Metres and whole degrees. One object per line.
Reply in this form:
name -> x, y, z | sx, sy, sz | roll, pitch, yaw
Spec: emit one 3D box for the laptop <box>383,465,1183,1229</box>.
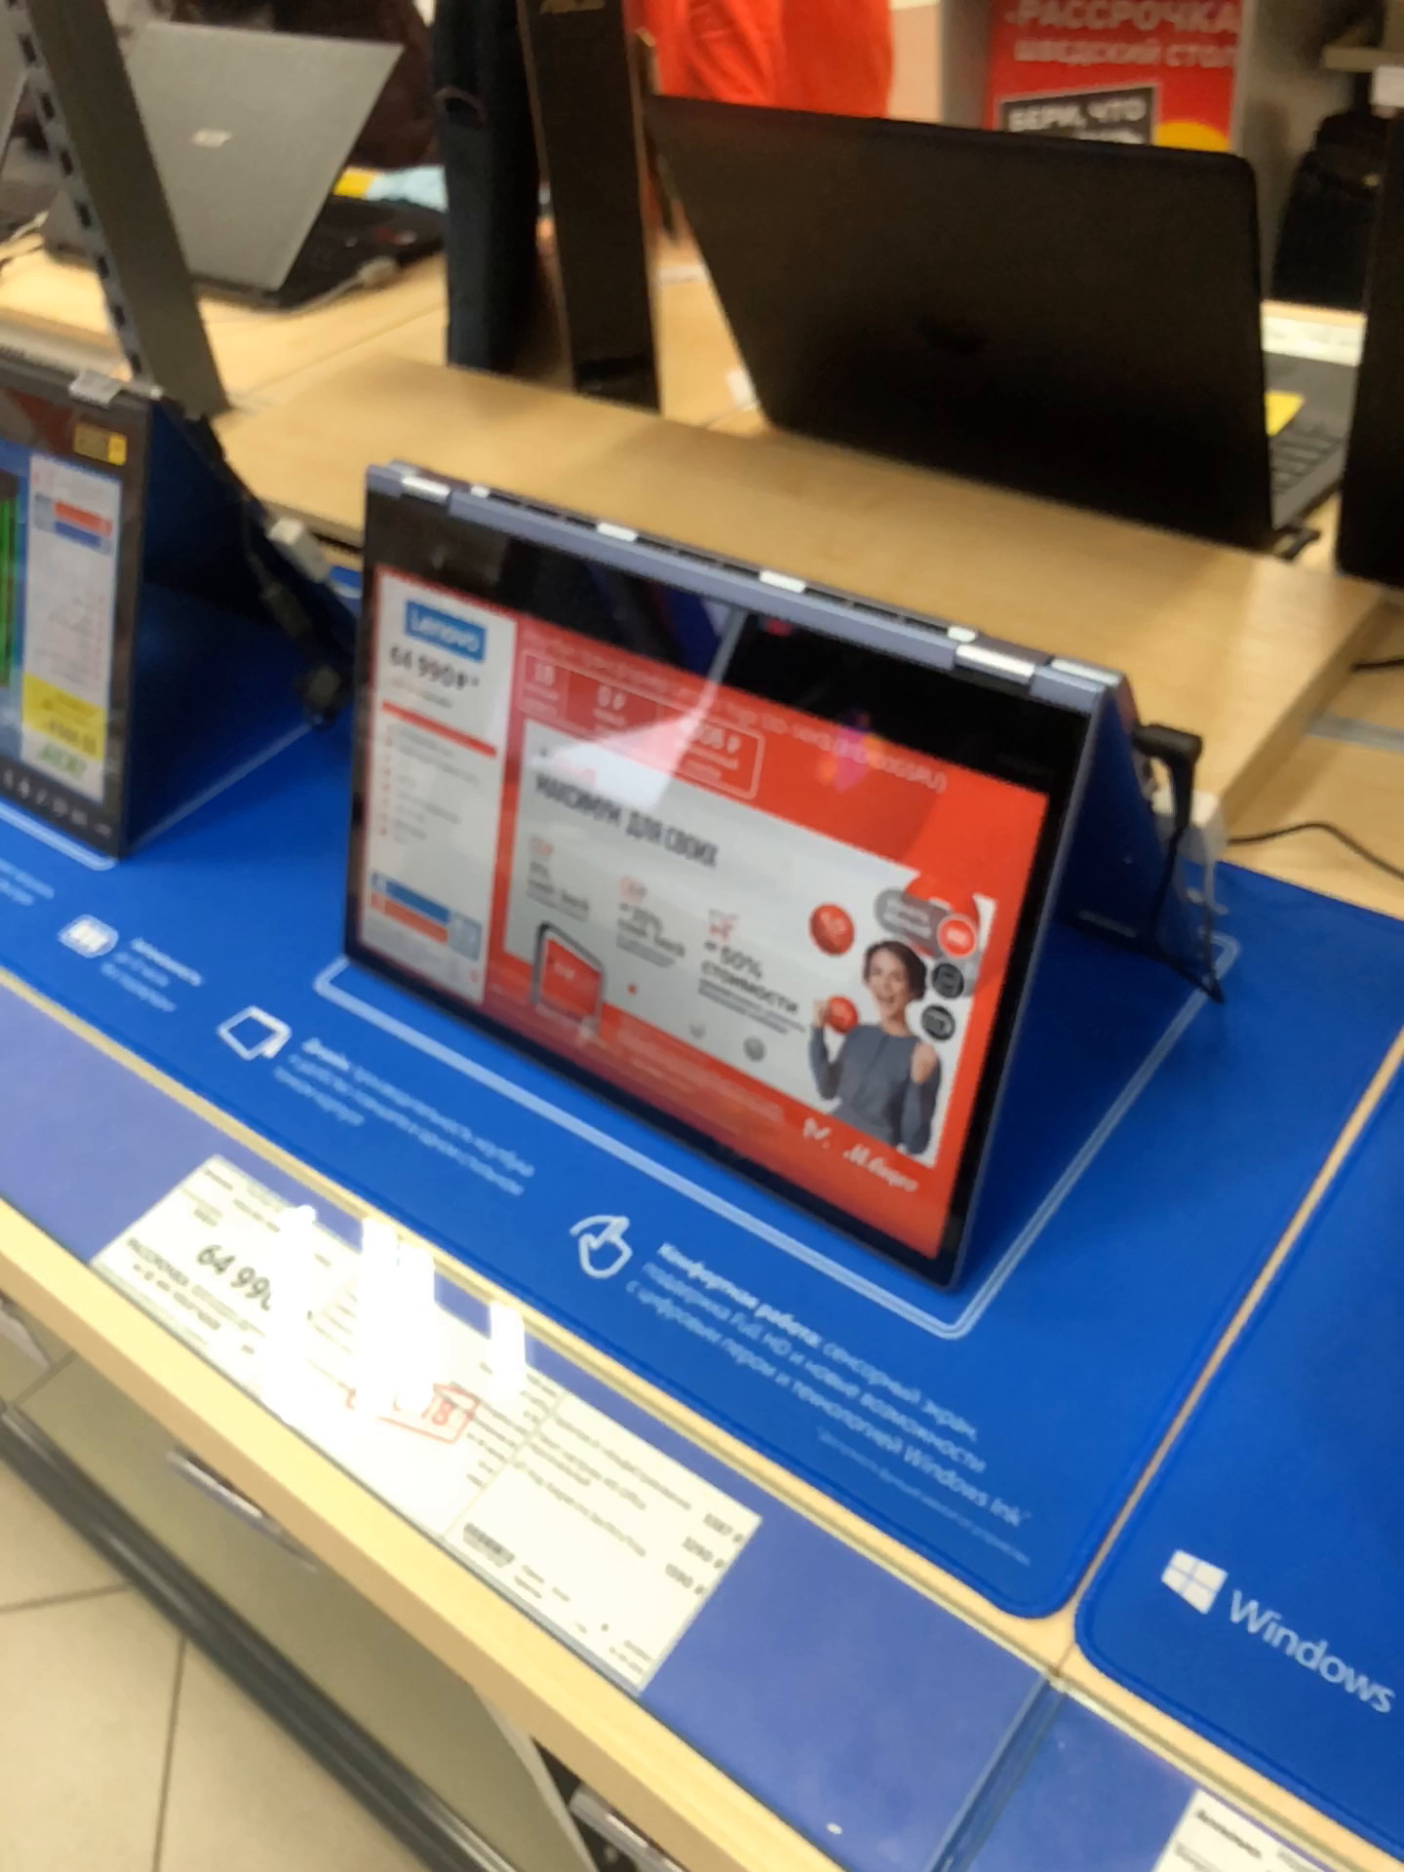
laptop -> 0.053, -0.018, 0.729 | 0.306, 0.157, 0.221 | 23, 13, 28
